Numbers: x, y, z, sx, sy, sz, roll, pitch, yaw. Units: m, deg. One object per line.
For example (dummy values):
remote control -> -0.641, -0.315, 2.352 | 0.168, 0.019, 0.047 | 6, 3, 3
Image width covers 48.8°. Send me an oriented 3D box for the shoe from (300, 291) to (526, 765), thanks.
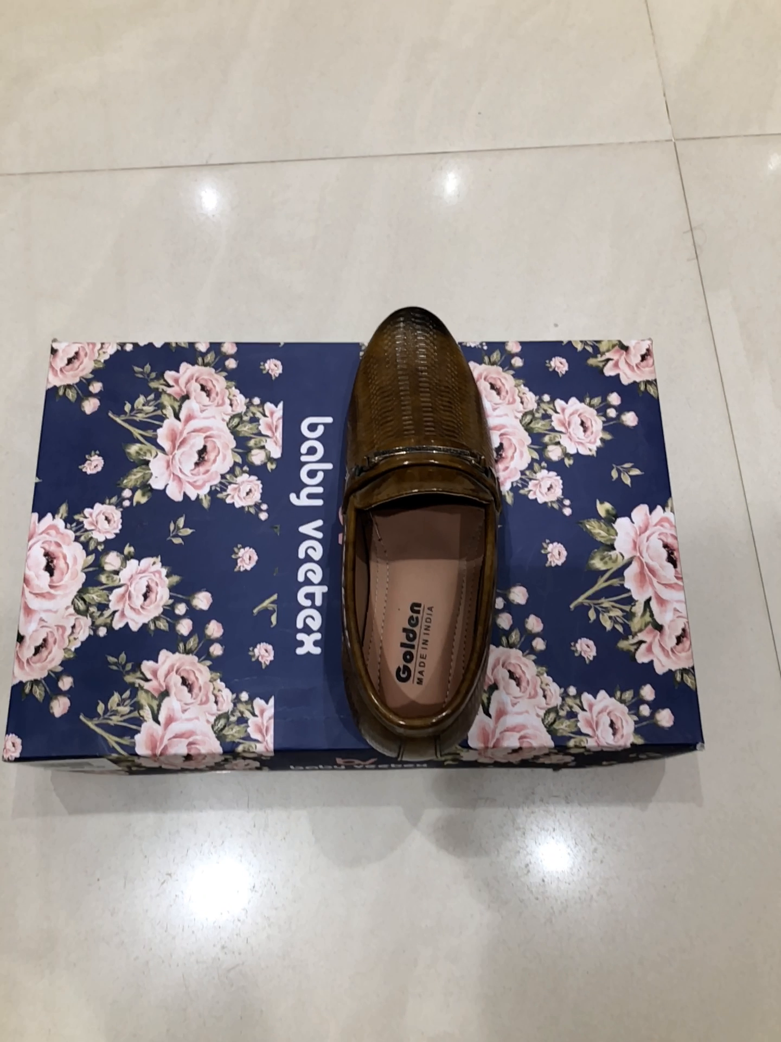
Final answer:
shoe -> 0.006, 0.006, 0.410 | 0.090, 0.080, 0.210 | -1, 74, -2
